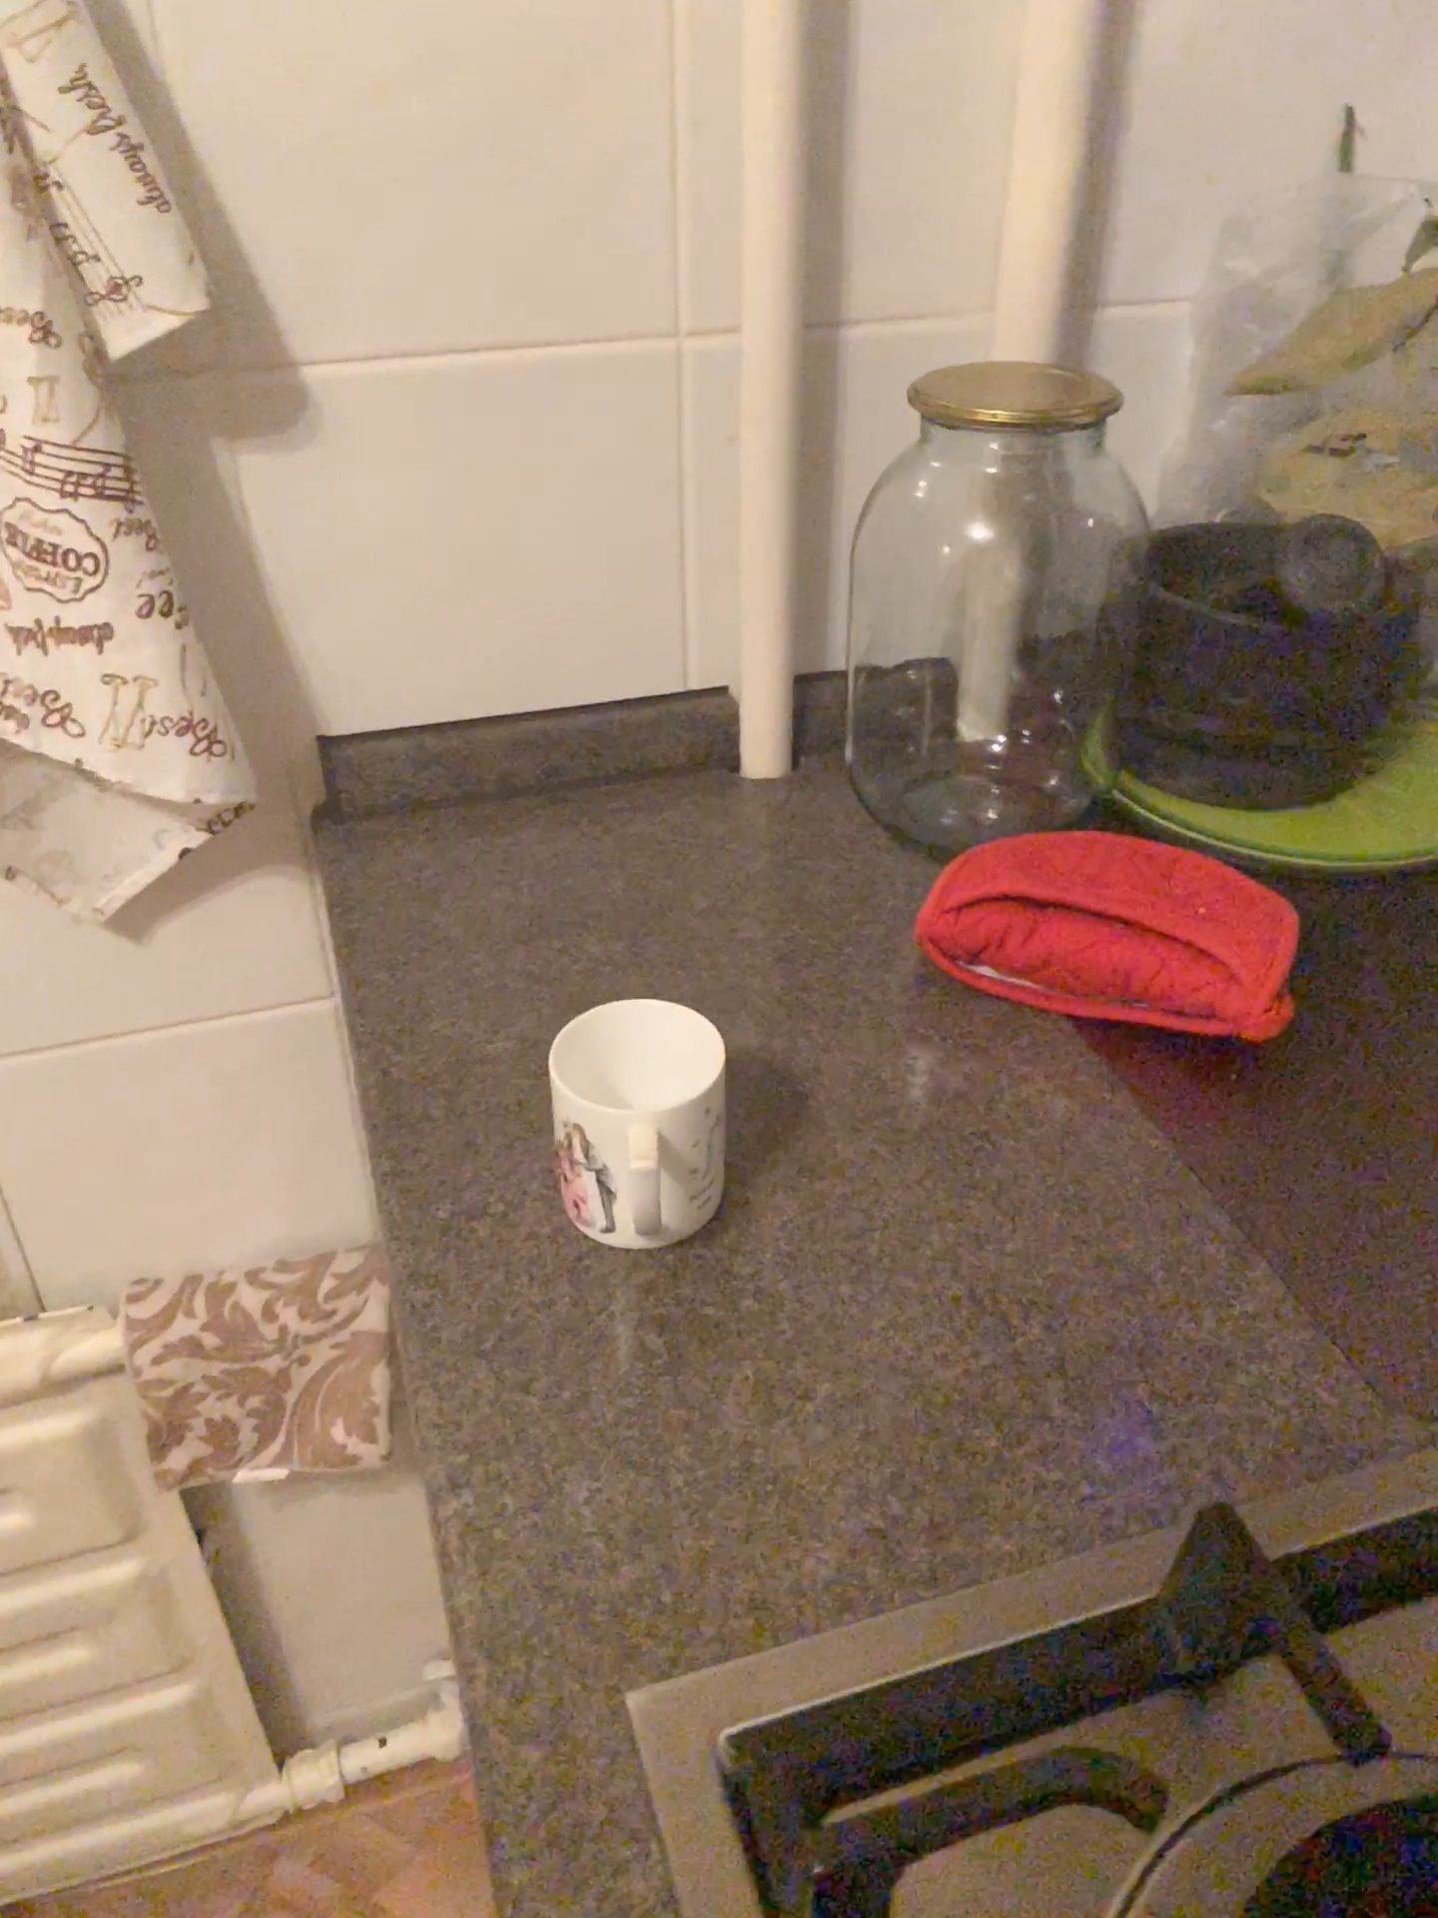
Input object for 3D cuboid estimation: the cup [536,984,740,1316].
[{"bbox_3d":[-0.026,0.061,0.487,0.060,0.069,0.081,-2,34,-3],"label":"cup"}]
